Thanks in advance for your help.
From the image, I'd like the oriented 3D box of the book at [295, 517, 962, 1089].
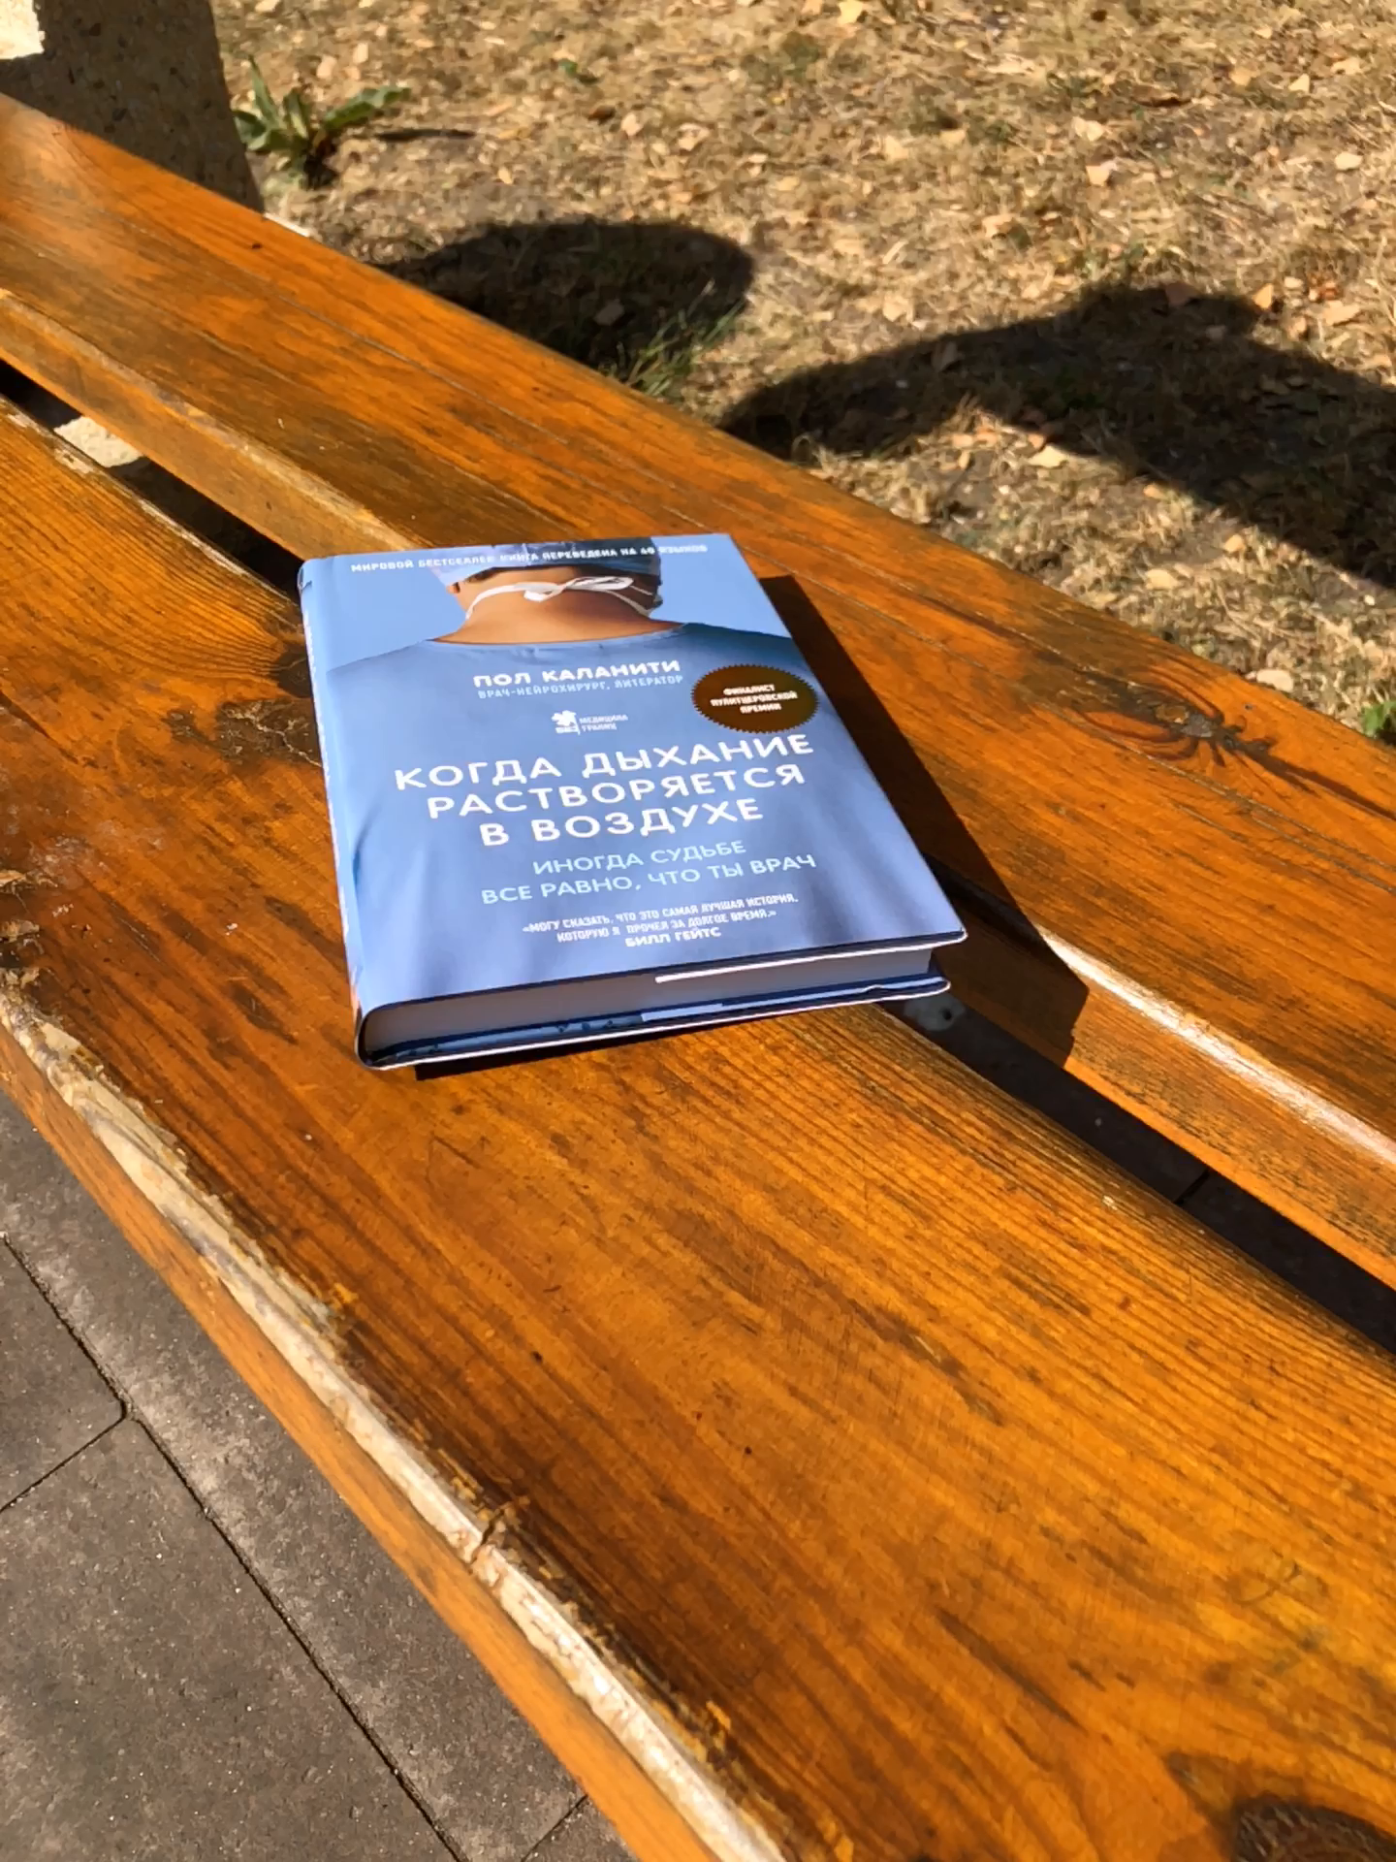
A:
[{"bbox_3d":[-0.033,-0.051,0.422,0.140,0.025,0.211,-7,42,-12],"label":"book"}]
